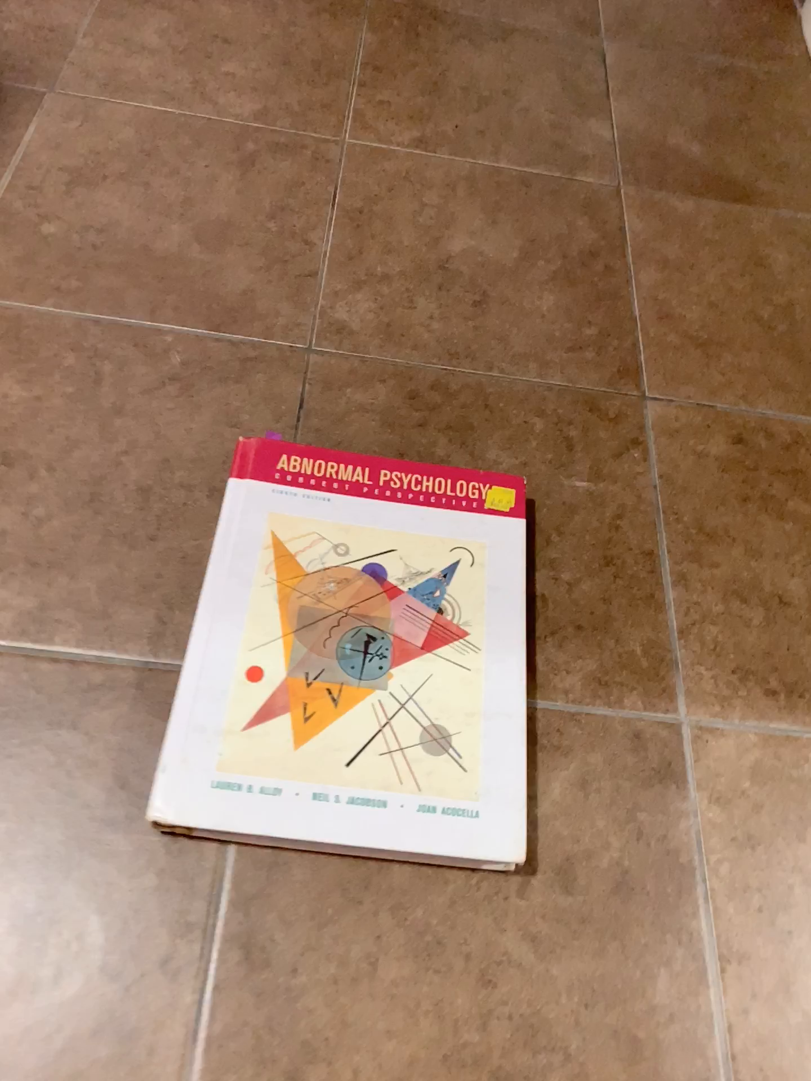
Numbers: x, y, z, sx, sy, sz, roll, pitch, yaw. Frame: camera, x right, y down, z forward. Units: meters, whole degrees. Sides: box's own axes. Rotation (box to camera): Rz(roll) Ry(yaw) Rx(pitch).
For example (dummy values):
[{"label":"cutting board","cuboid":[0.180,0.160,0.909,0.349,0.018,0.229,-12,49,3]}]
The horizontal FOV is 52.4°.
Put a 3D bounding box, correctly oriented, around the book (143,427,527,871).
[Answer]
[{"label":"book","cuboid":[-0.030,0.060,0.565,0.222,0.032,0.289,8,58,-4]}]
